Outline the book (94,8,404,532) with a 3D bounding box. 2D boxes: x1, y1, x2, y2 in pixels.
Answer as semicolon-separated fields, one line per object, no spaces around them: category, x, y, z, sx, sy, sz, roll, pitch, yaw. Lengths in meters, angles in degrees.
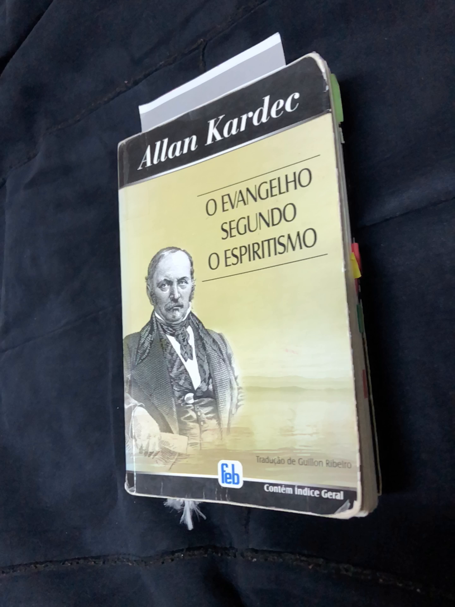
book;-0.003;-0.010;0.270;0.151;0.050;0.220;-11;77;37
